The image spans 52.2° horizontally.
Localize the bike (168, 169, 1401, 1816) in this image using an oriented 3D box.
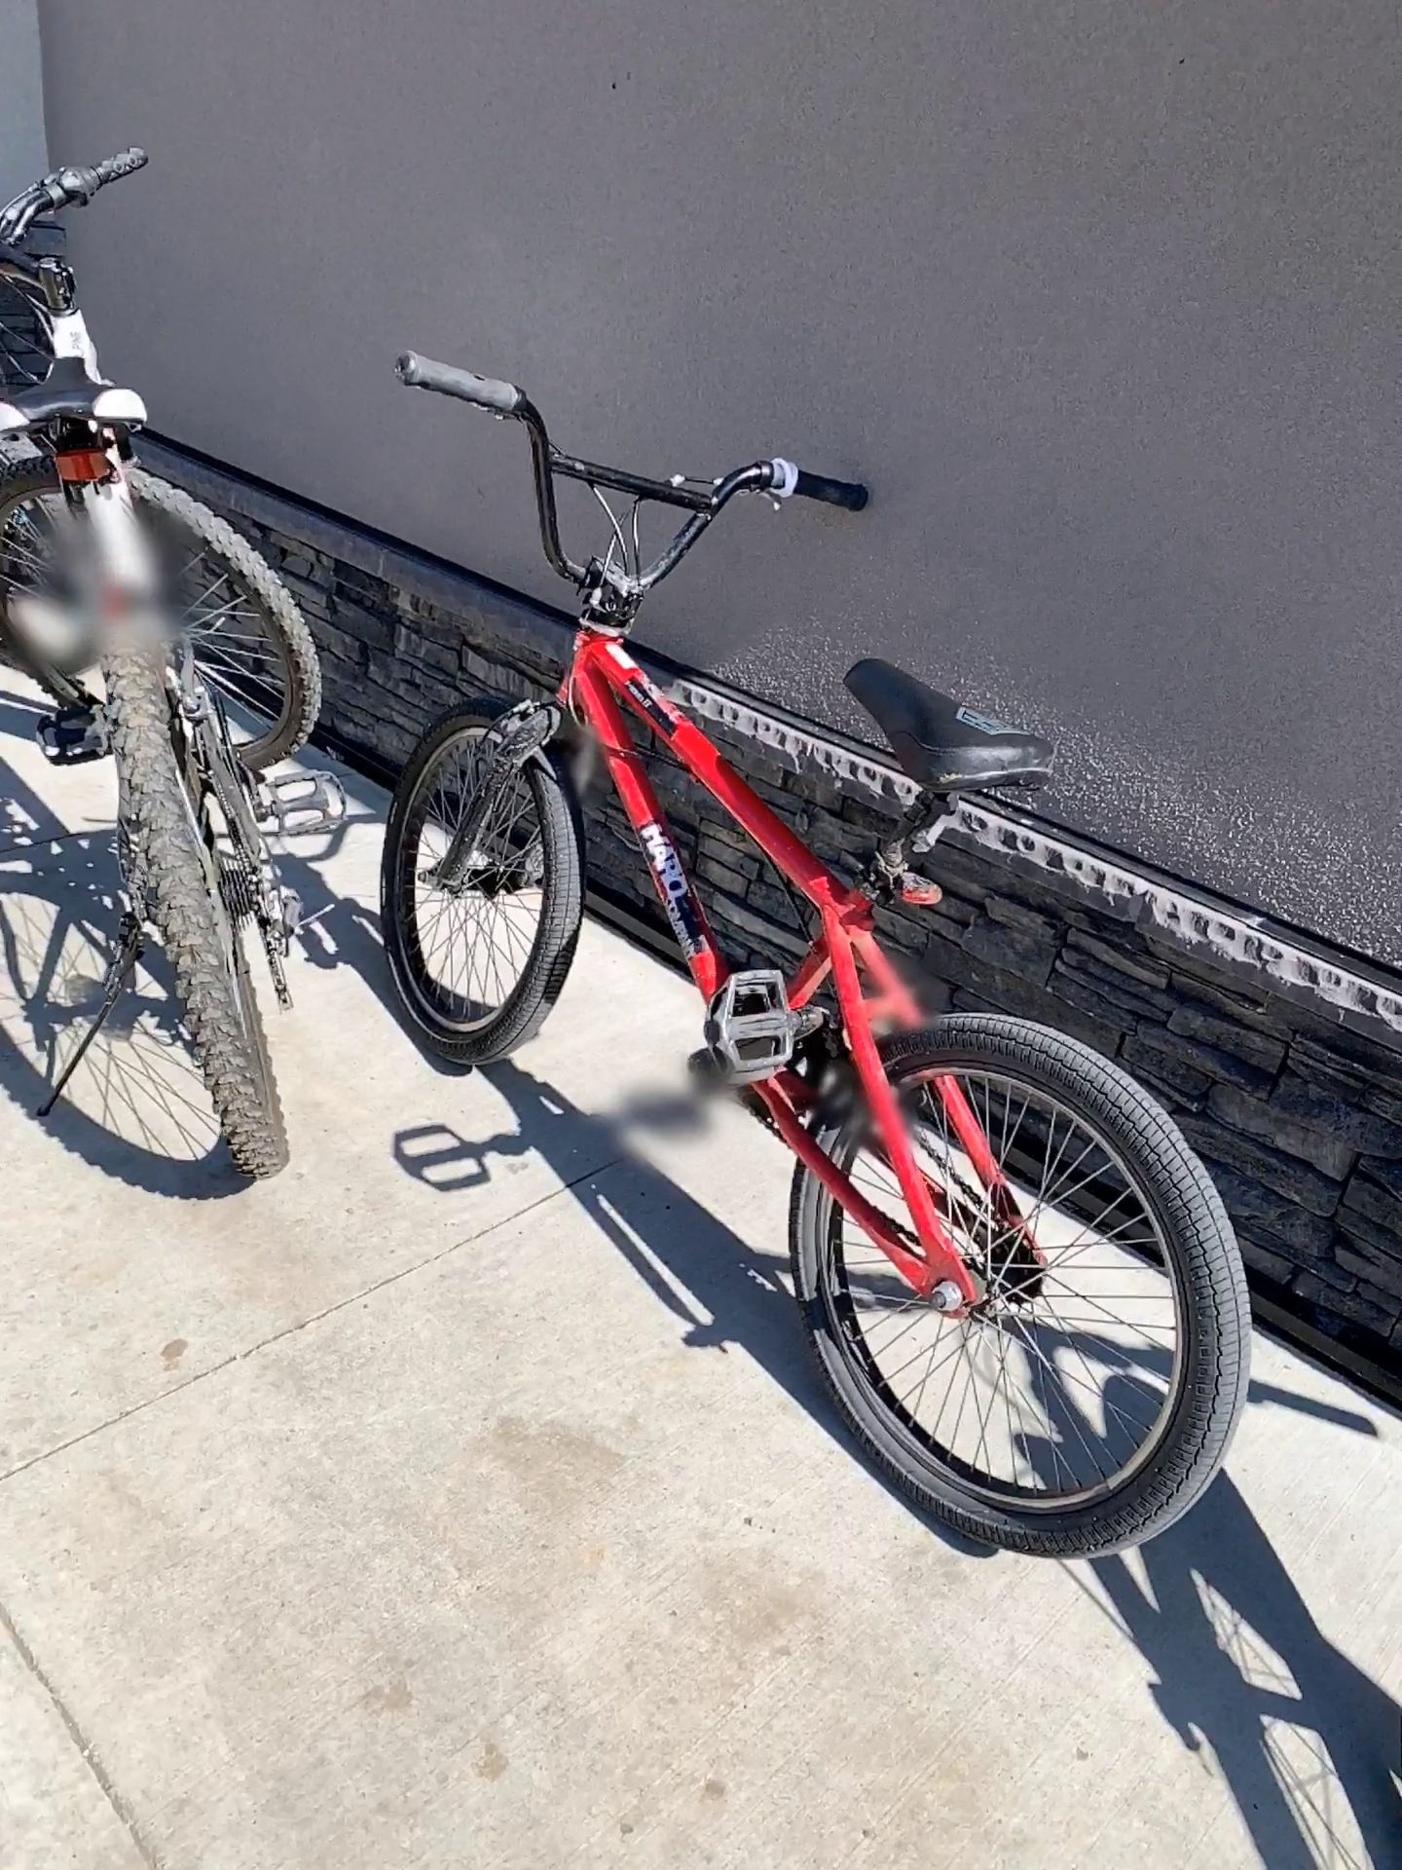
[{"bbox_3d":[0.081,-0.138,1.542,0.774,0.908,1.317,-14,39,-38],"label":"bike"}]
